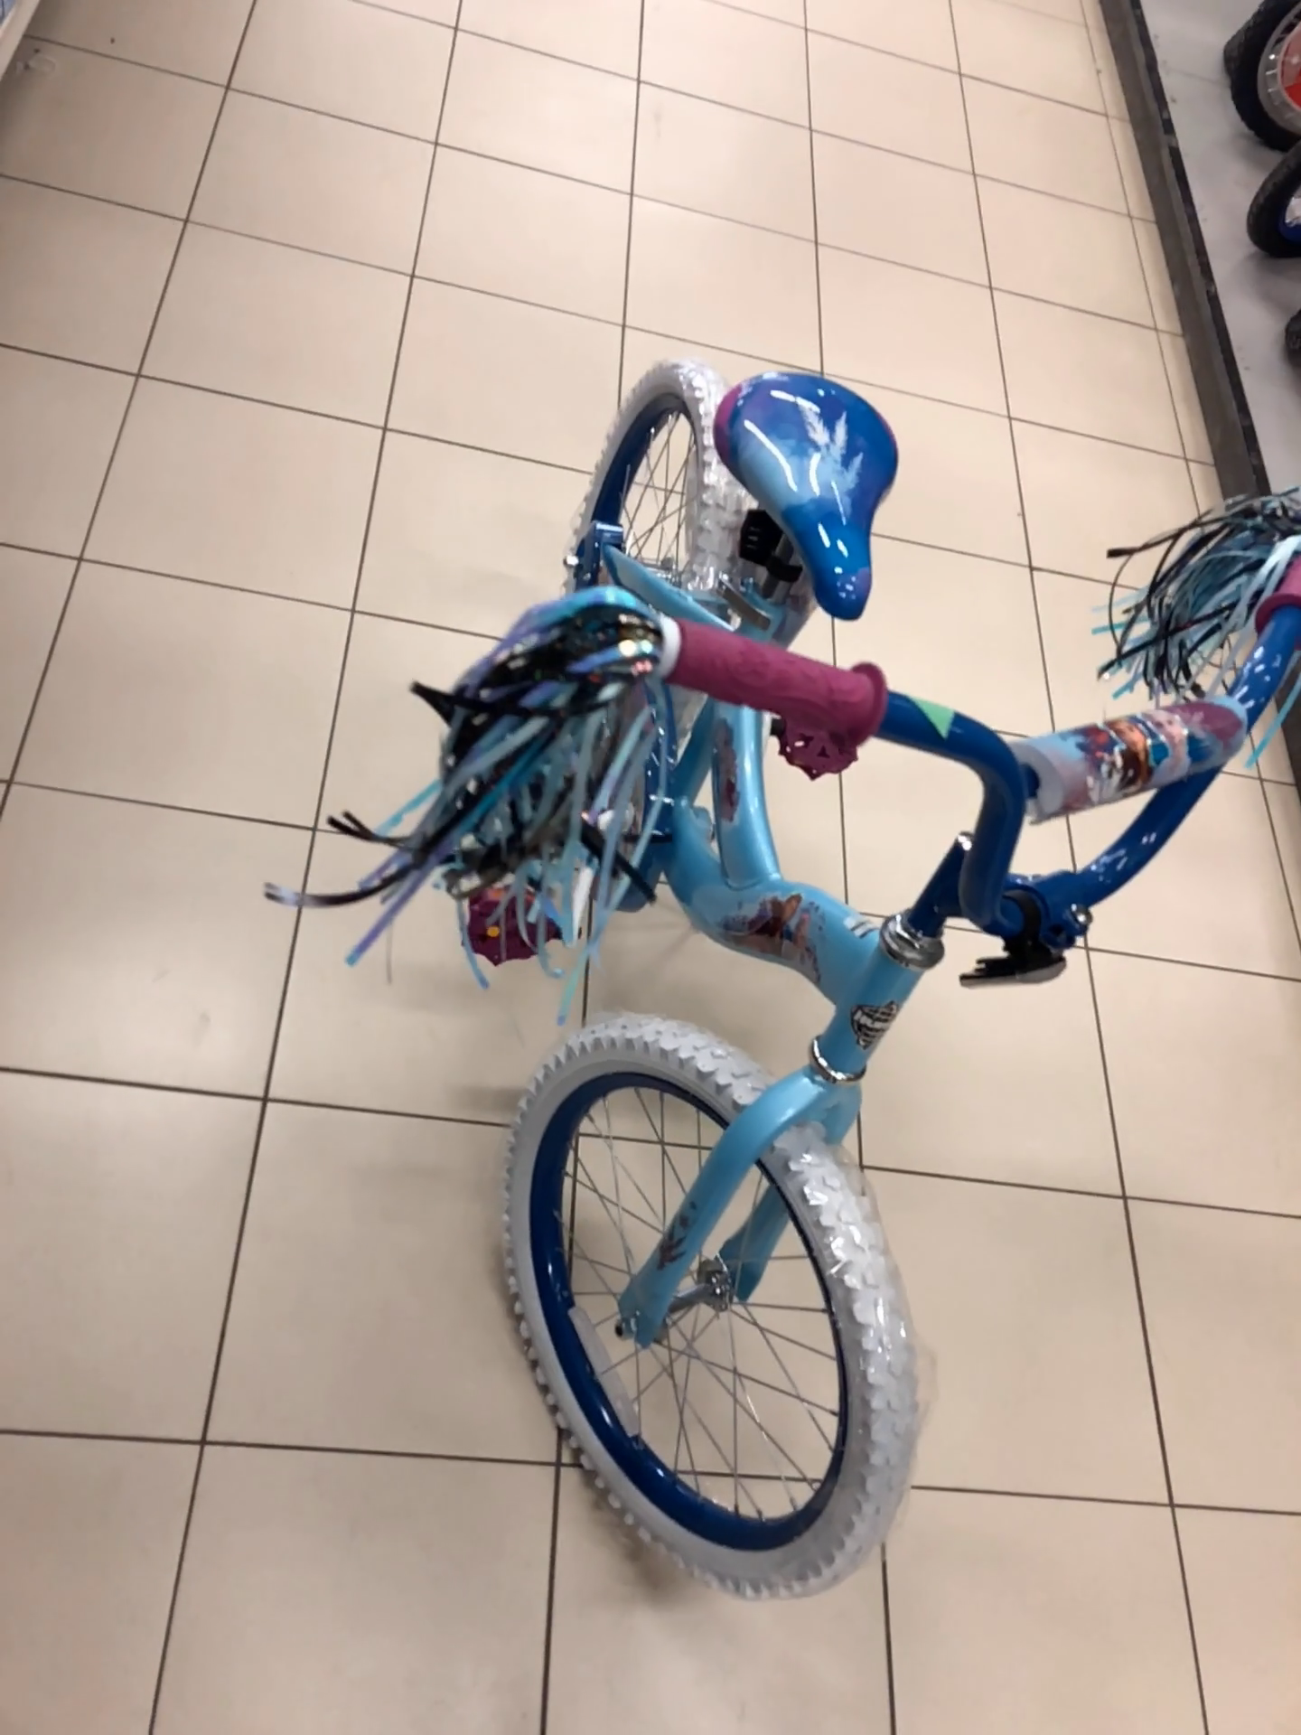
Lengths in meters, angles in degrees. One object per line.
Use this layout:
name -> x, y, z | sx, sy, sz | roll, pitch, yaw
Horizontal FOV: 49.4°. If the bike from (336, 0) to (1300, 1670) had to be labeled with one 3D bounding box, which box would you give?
bike -> 0.132, -0.094, 1.117 | 0.641, 0.954, 1.178 | 1, 57, -17
